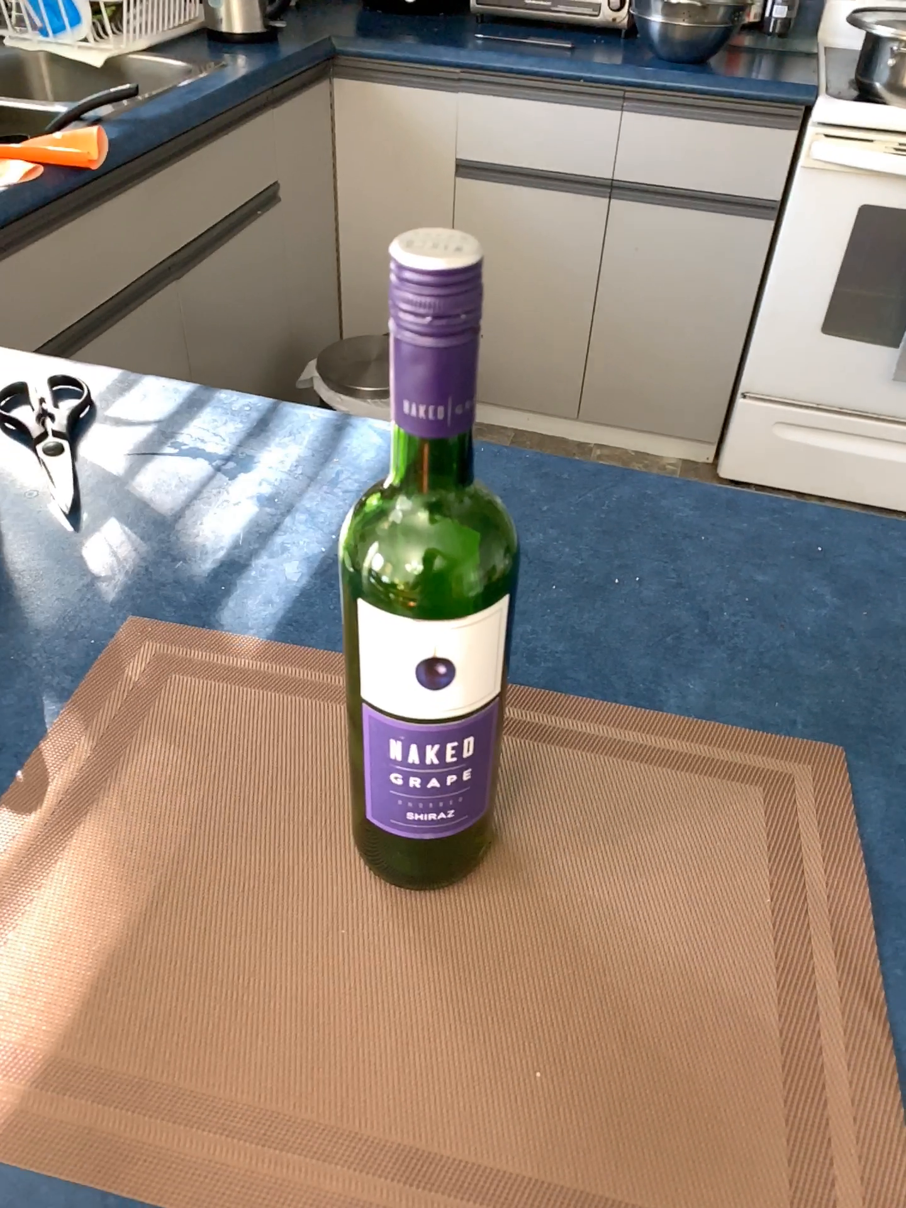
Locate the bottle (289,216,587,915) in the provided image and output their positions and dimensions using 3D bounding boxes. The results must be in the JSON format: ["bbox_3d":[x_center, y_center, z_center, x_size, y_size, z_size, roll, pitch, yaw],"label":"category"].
[{"bbox_3d":[-0.013,0.007,0.370,0.080,0.287,0.081,2,41,-1],"label":"bottle"}]
